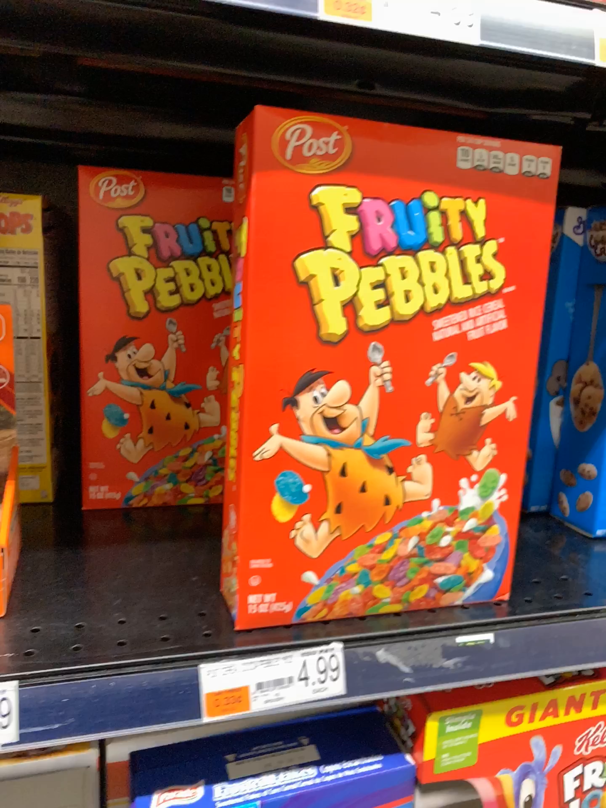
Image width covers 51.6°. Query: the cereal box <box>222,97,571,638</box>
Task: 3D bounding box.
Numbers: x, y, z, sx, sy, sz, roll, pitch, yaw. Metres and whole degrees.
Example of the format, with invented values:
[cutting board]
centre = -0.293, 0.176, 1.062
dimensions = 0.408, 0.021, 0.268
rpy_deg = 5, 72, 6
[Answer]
[cereal box]
centre = 0.054, -0.016, 0.412
dimensions = 0.200, 0.309, 0.060
rpy_deg = 0, 10, -16
